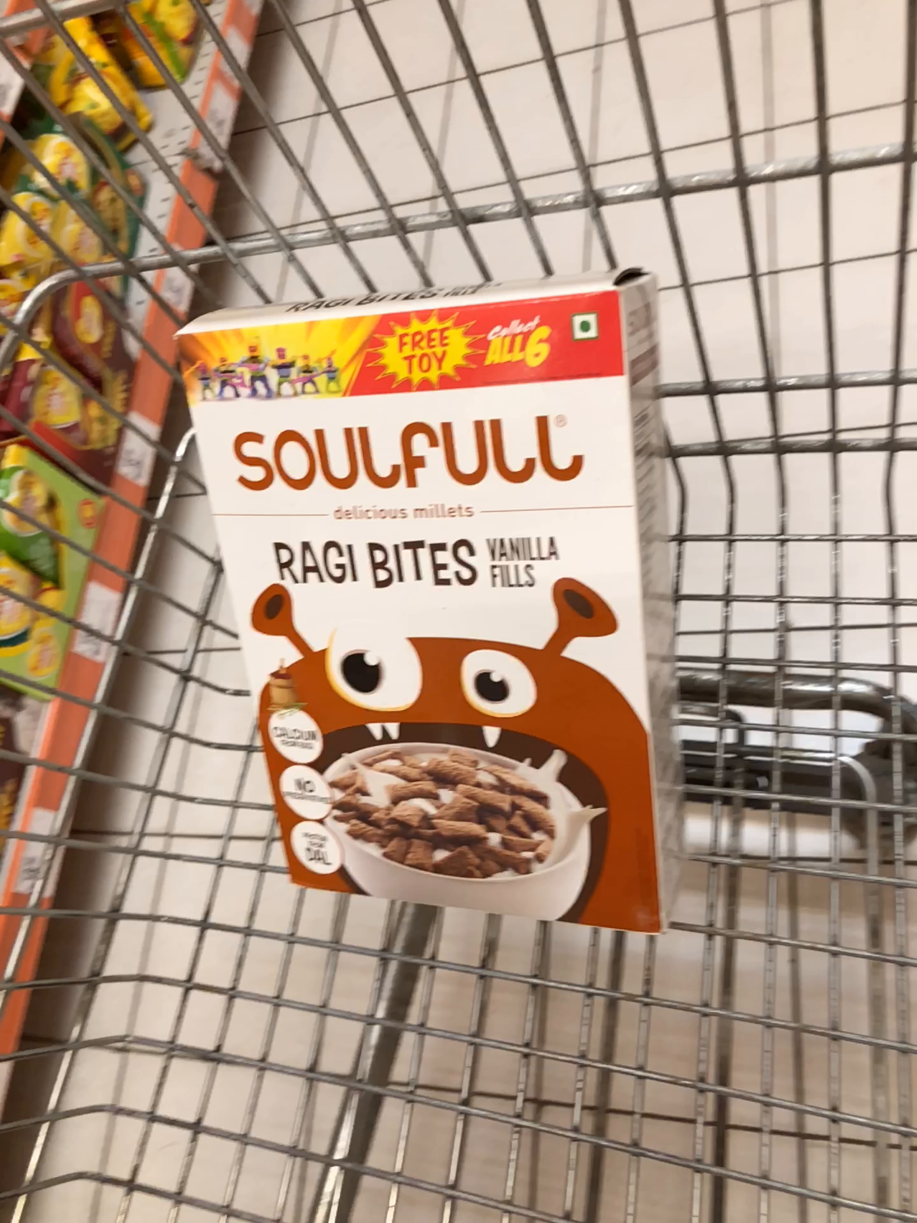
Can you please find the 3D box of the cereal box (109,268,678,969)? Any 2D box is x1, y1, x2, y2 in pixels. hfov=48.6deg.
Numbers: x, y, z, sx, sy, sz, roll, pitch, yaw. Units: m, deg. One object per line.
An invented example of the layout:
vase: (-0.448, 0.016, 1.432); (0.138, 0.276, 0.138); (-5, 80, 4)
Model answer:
cereal box: (-0.014, 0.006, 0.404); (0.180, 0.249, 0.070); (1, 23, 21)
